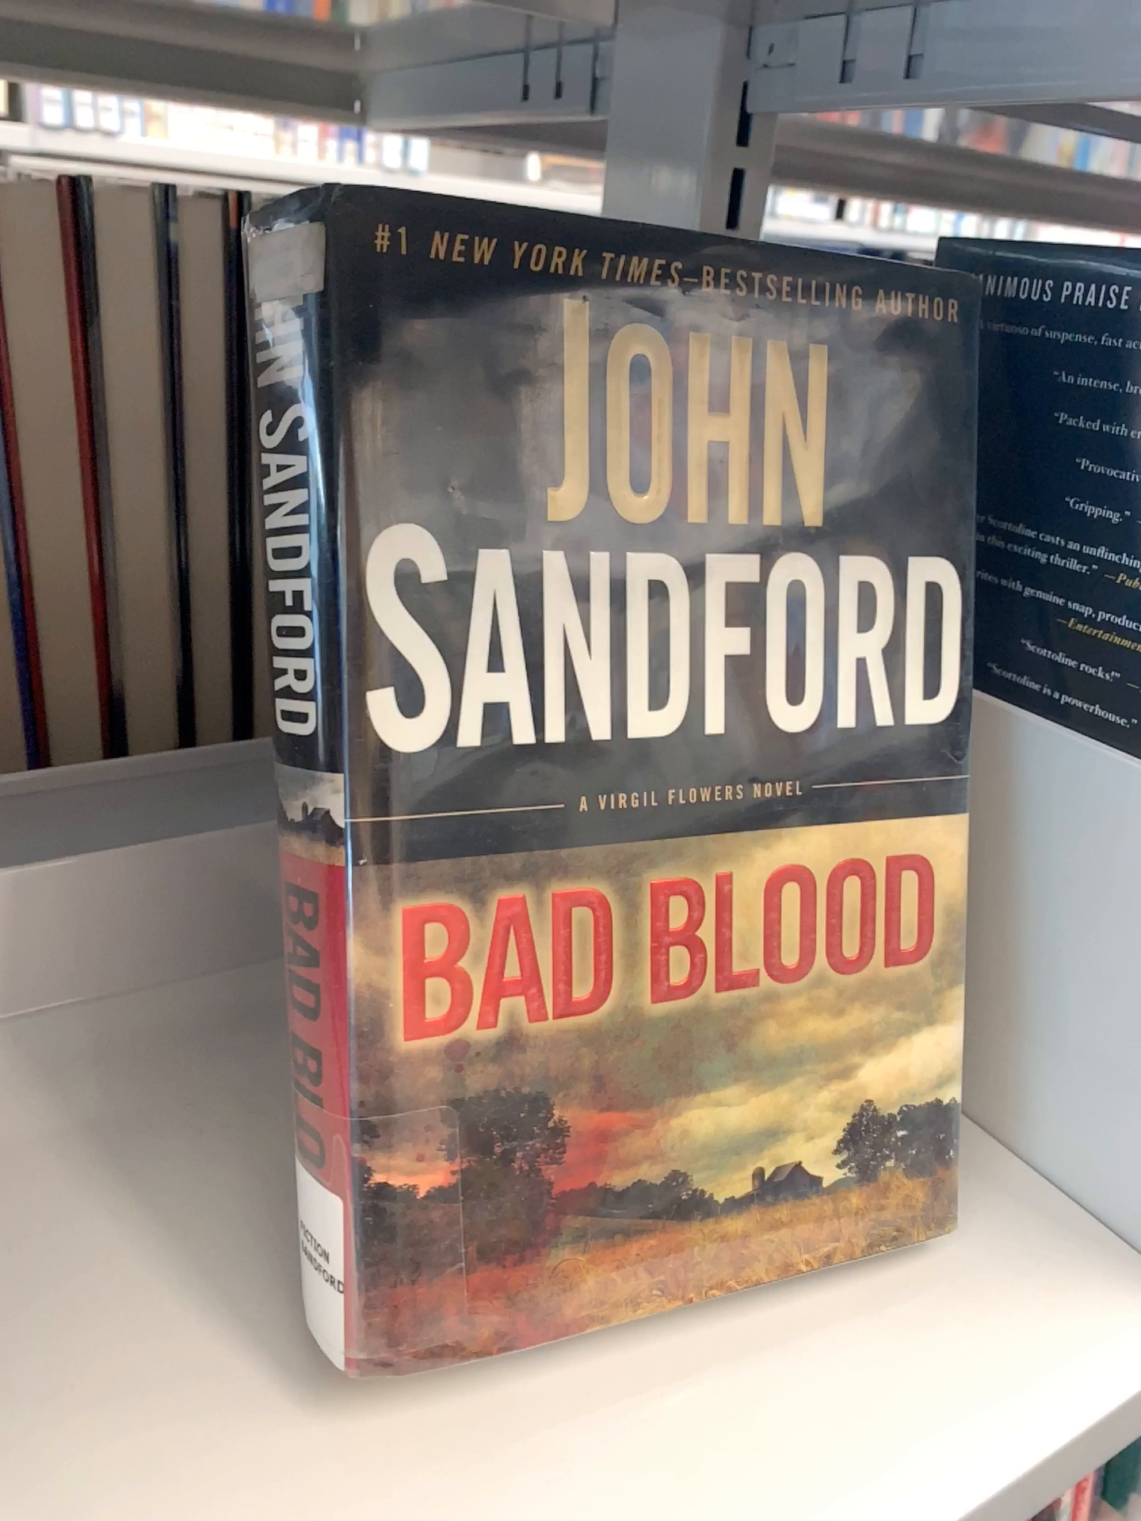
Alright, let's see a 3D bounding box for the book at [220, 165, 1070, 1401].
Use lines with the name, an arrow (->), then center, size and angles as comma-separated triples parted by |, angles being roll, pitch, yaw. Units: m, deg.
book -> 0.019, 0.003, 0.256 | 0.165, 0.215, 0.050 | -4, 10, -22
